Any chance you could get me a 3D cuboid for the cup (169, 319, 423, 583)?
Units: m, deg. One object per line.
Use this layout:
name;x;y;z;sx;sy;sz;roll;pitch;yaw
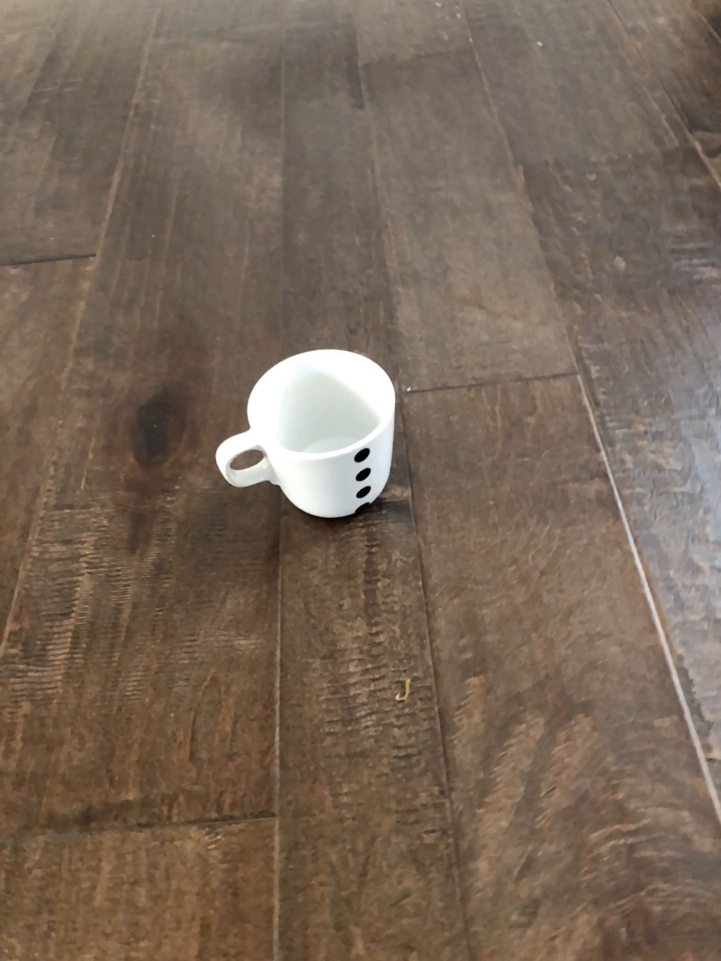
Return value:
cup;-0.035;-0.019;0.476;0.110;0.079;0.090;-30;54;-17
